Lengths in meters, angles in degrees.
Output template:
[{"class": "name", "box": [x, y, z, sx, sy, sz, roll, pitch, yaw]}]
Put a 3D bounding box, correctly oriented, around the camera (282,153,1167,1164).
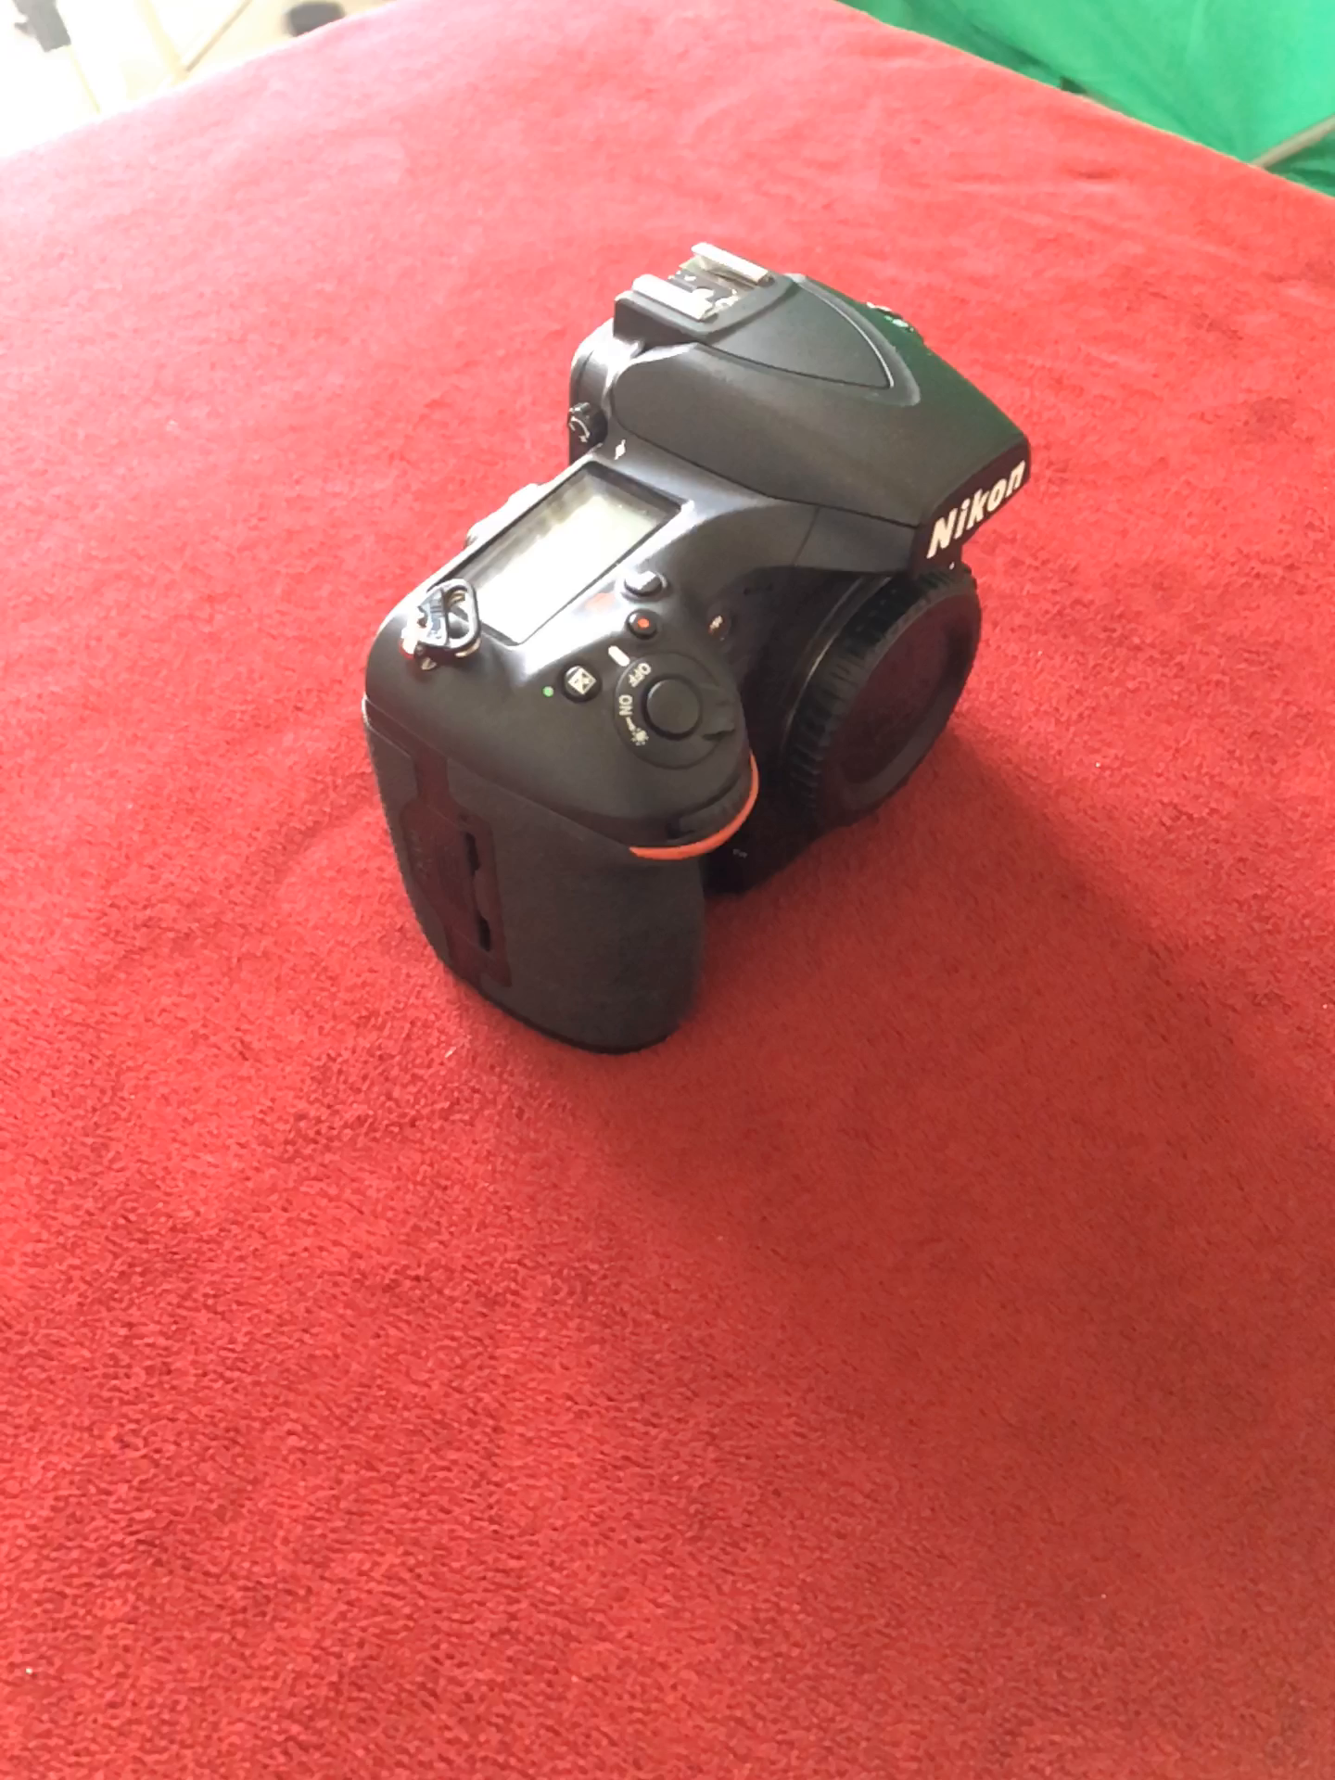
[{"class": "camera", "box": [0.015, -0.049, 0.308, 0.083, 0.129, 0.146, 32, 58, 23]}]
